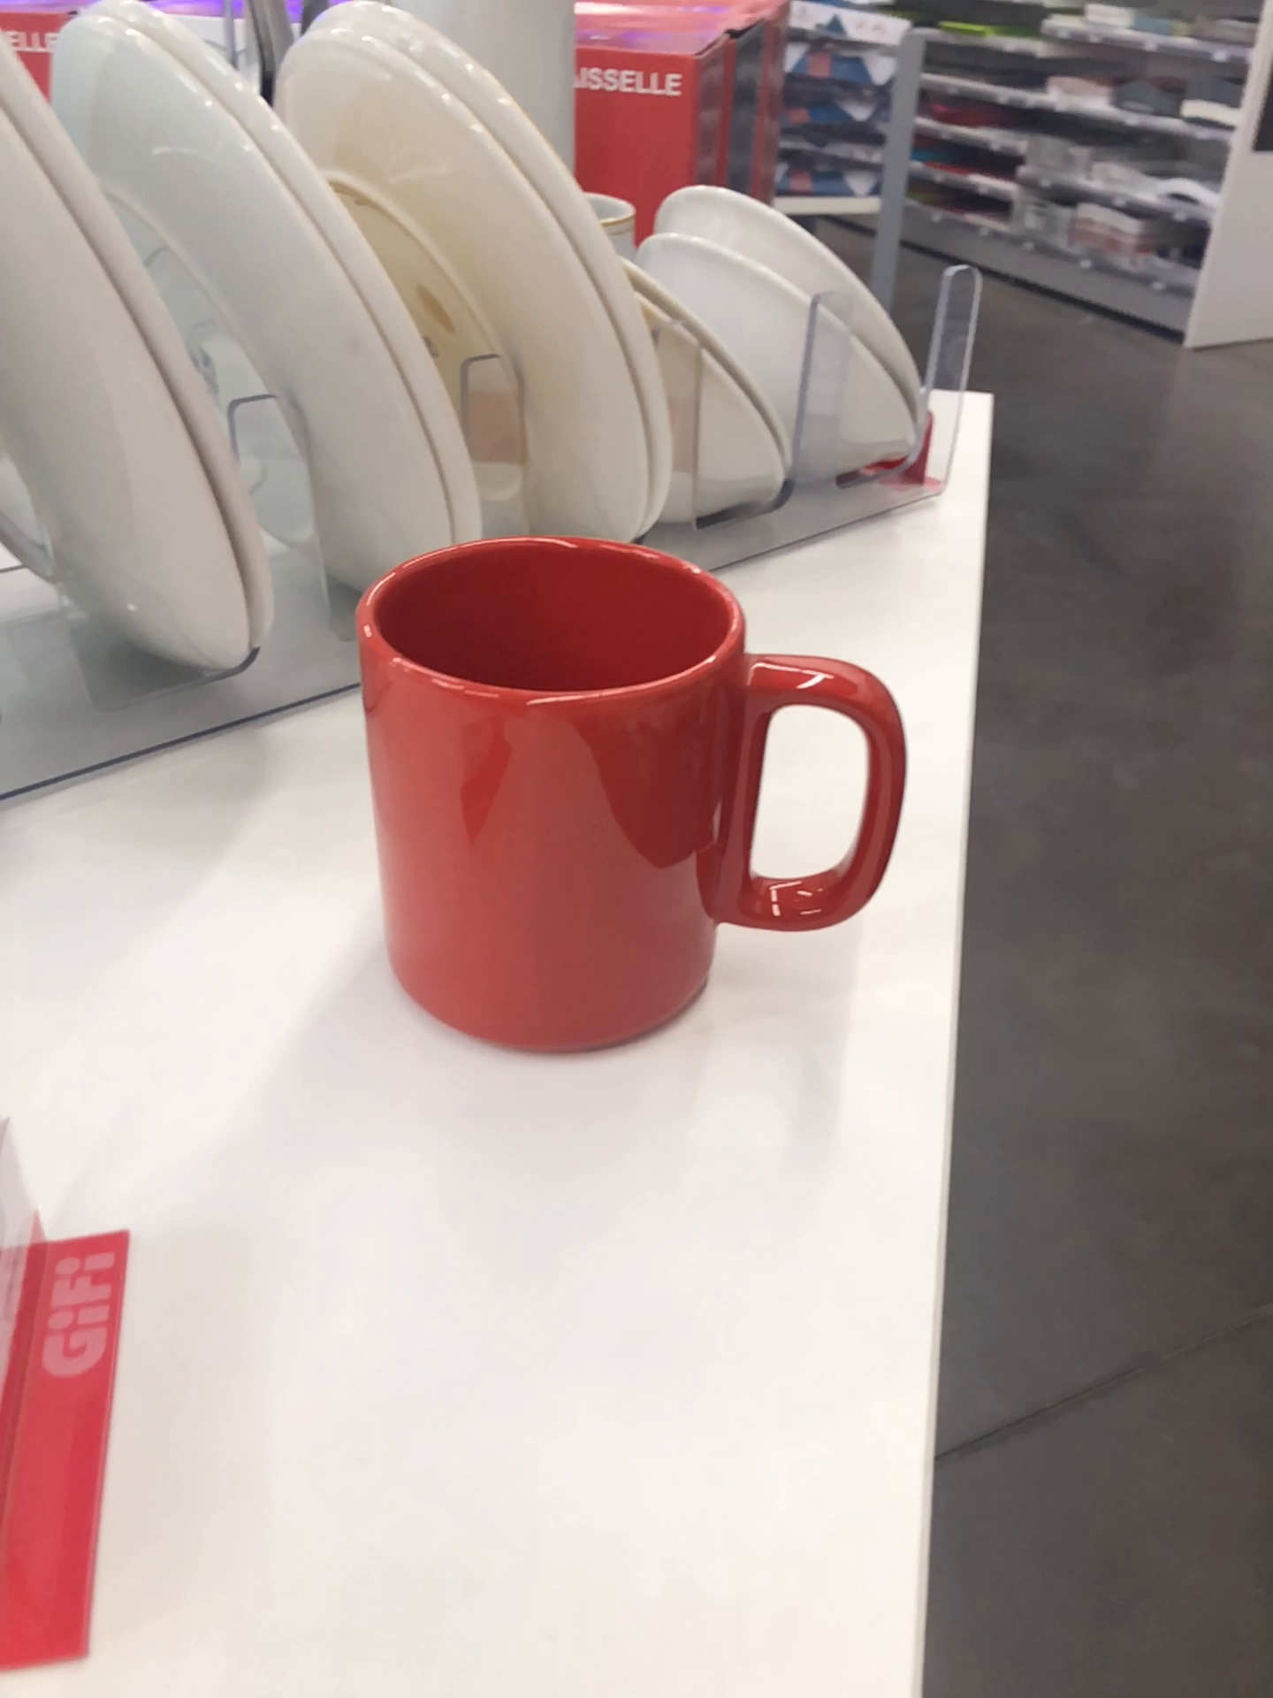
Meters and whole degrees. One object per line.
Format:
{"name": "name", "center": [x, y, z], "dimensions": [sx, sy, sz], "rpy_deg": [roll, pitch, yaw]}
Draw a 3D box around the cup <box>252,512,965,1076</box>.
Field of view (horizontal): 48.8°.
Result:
{"name": "cup", "center": [-0.004, -0.016, 0.314], "dimensions": [0.129, 0.082, 0.092], "rpy_deg": [4, 33, 2]}
